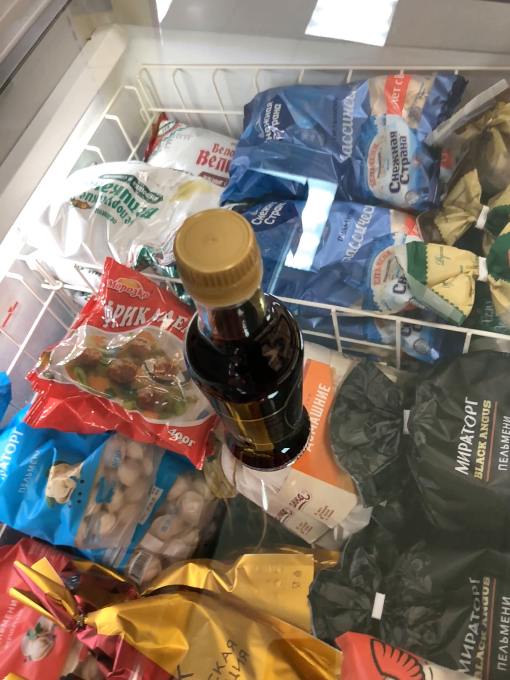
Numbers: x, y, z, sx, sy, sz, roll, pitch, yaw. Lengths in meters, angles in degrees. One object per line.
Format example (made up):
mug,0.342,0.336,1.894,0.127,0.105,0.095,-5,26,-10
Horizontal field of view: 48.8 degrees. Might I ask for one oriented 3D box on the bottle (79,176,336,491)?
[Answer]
bottle,-0.005,0.012,0.282,0.070,0.180,0.070,-6,58,10
